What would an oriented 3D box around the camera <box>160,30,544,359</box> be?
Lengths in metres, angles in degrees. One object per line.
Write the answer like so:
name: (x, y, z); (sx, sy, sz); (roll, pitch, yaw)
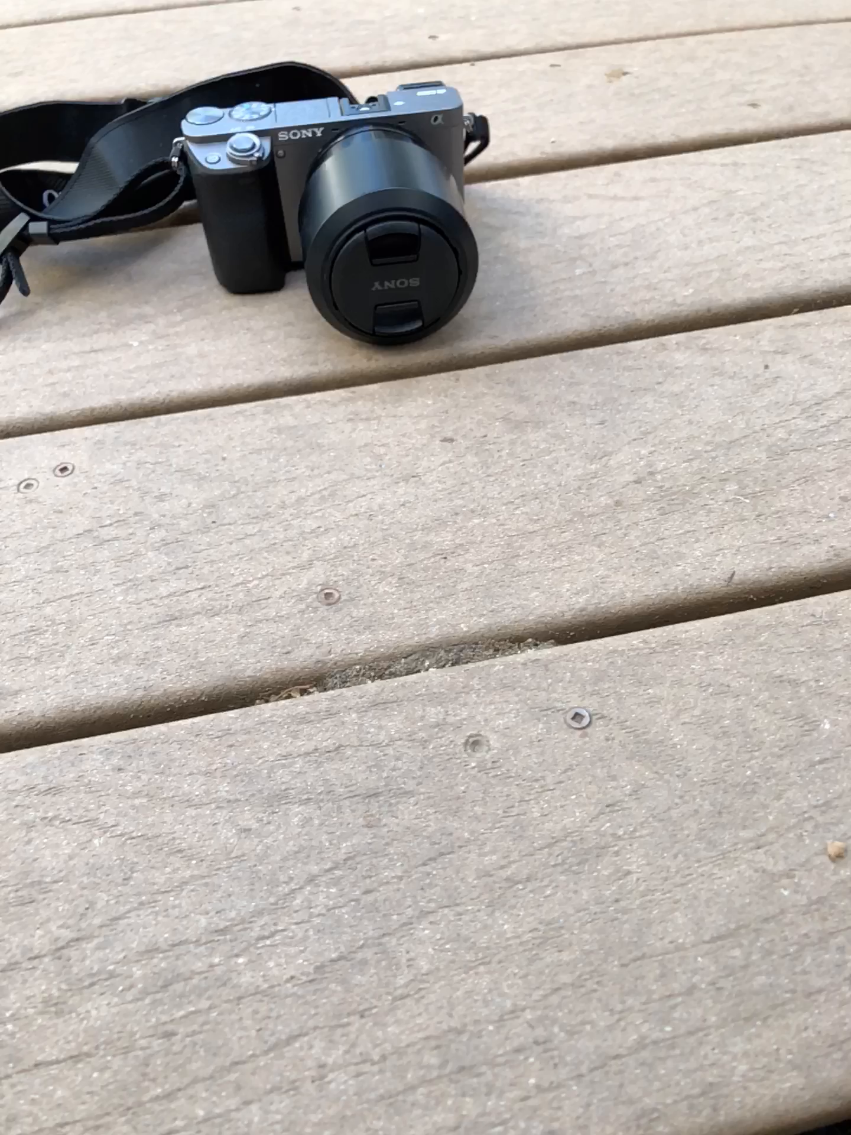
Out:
camera: (-0.032, -0.153, 0.379); (0.130, 0.070, 0.111); (-8, 49, -5)
